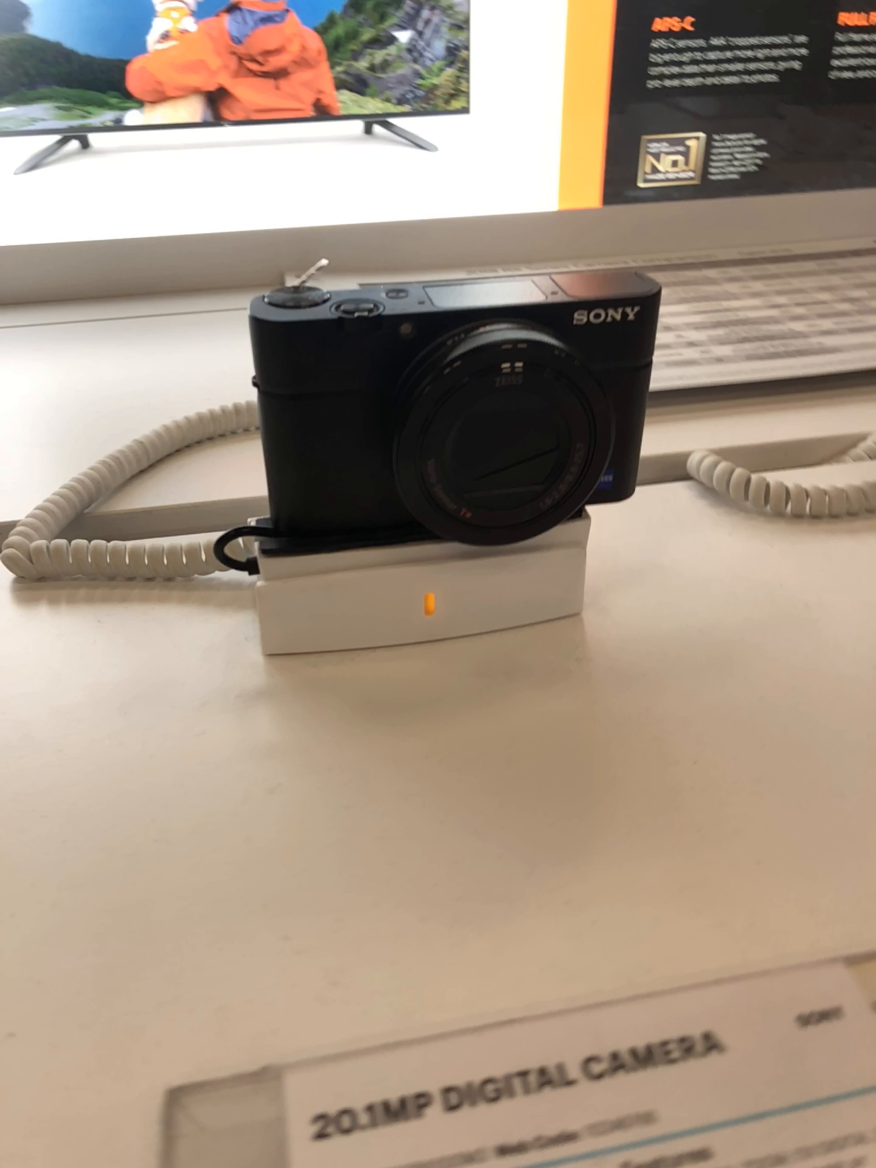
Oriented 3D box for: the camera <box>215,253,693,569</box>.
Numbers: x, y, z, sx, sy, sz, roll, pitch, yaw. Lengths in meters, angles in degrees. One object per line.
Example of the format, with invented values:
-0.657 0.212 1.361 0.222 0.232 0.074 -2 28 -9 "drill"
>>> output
0.003 -0.047 0.253 0.110 0.060 0.040 -7 33 -10 "camera"
